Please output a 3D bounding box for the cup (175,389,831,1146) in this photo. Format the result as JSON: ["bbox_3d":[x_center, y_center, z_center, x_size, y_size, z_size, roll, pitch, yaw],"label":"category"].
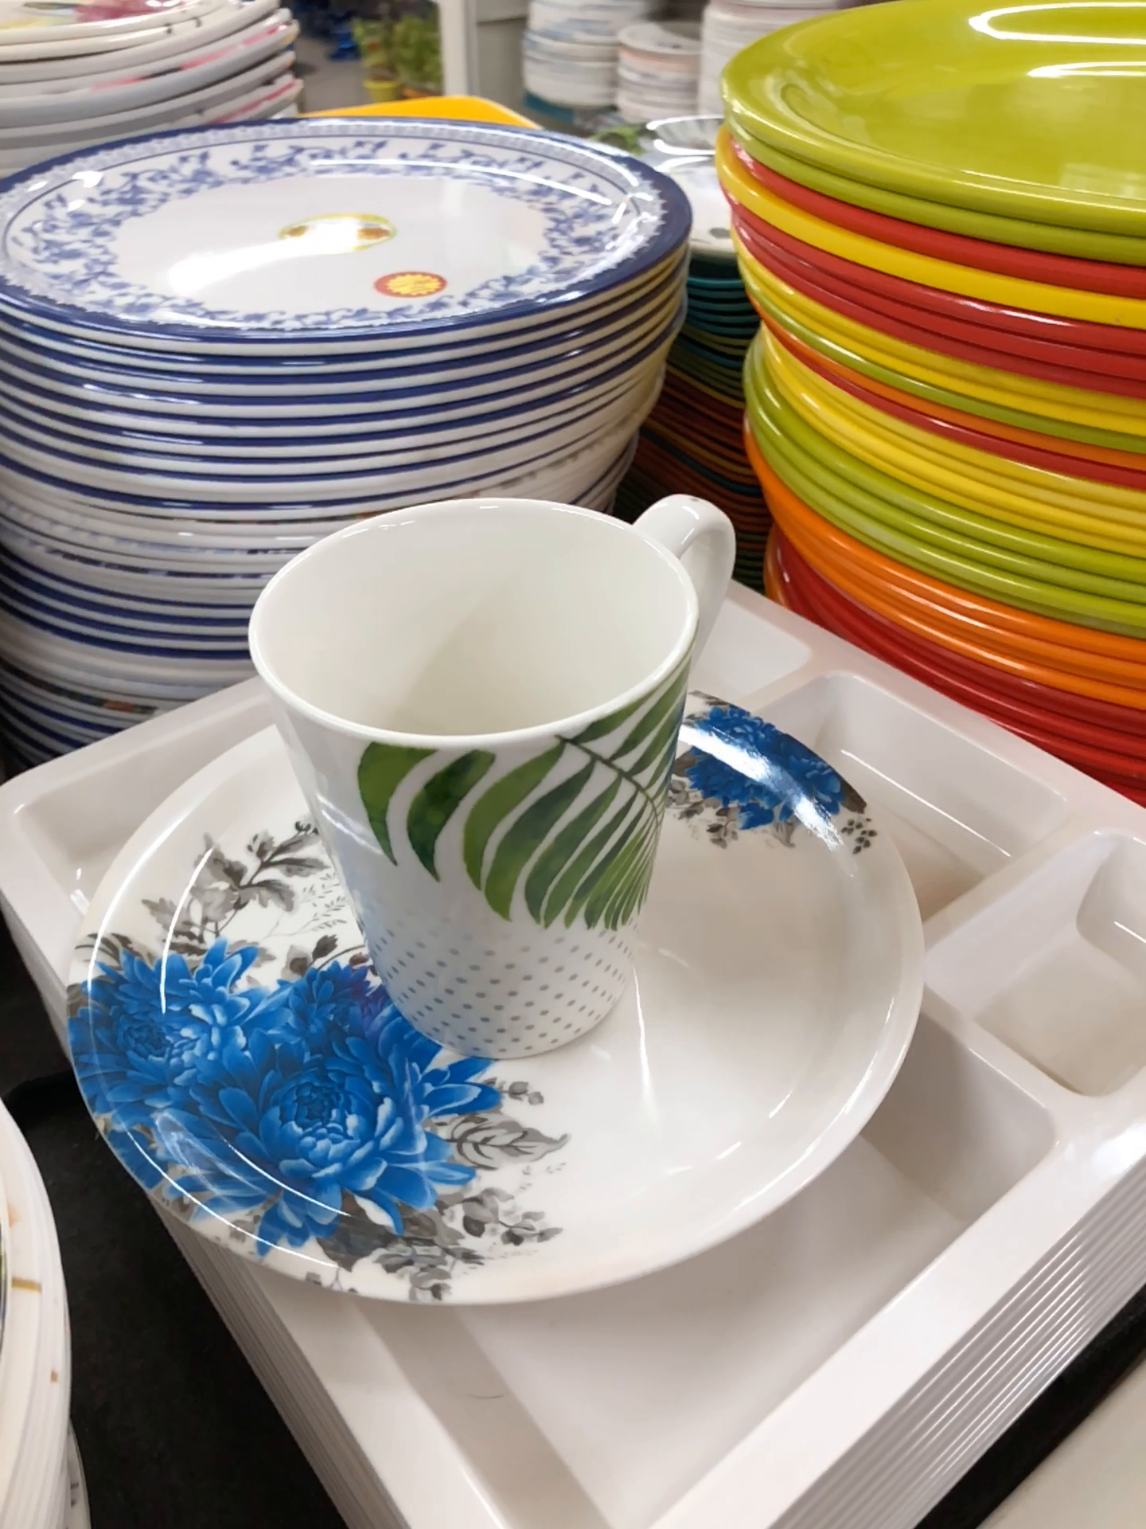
[{"bbox_3d":[-0.005,-0.007,0.268,0.080,0.089,0.121,15,41,17],"label":"cup"}]
